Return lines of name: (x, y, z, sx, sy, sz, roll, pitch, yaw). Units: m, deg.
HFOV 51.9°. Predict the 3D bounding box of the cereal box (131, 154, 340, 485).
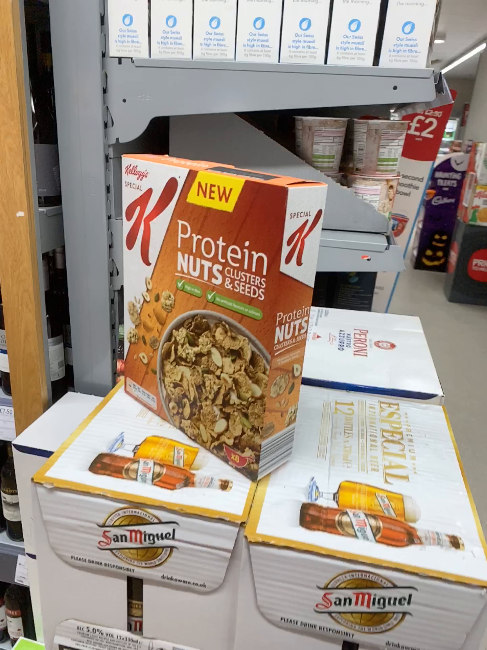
cereal box: (-0.024, -0.017, 0.441, 0.050, 0.238, 0.191, -16, 29, -42)
